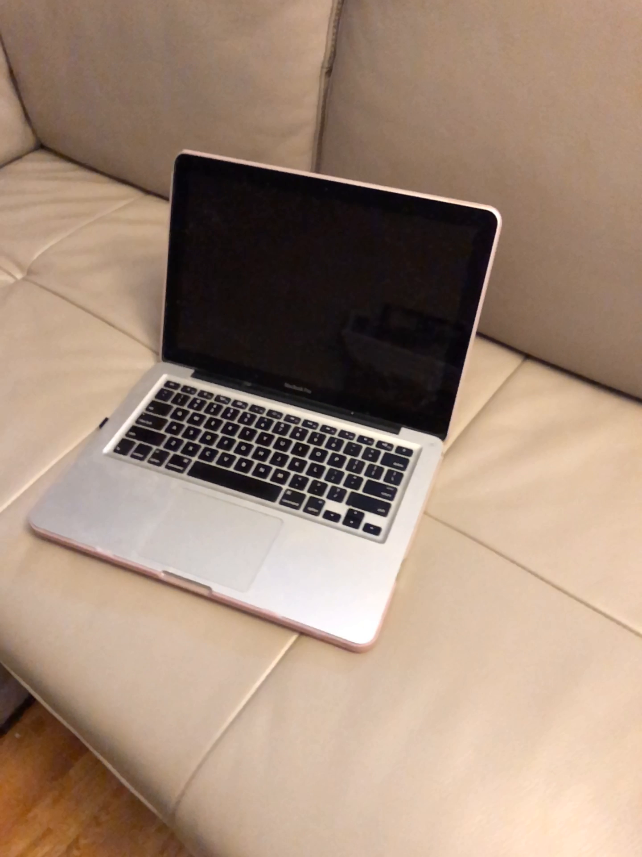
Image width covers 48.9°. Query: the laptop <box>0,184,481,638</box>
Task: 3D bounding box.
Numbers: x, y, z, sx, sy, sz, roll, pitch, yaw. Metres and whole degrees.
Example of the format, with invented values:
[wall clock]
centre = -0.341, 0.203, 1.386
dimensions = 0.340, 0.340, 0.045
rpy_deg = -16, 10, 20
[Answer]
[laptop]
centre = -0.059, -0.039, 0.601
dimensions = 0.305, 0.177, 0.307
rpy_deg = 16, 48, 16
